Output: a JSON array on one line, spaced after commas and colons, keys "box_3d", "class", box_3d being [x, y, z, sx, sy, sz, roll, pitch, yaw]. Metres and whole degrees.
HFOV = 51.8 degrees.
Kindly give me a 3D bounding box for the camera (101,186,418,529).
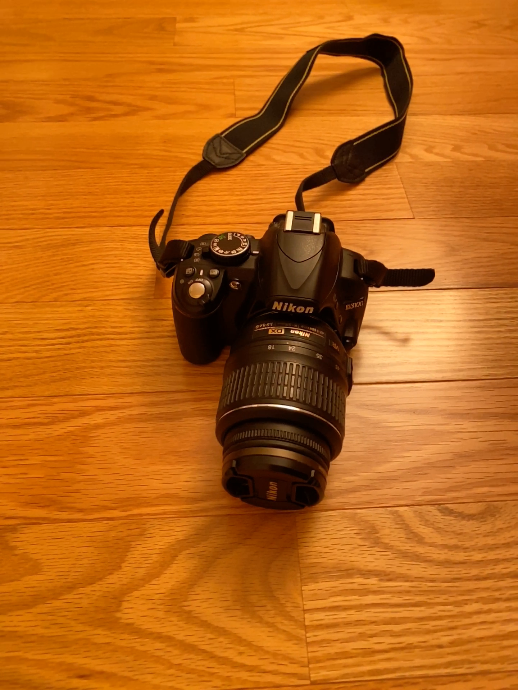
[{"box_3d": [0.006, 0.003, 0.307, 0.130, 0.099, 0.161, 4, 52, 3], "class": "camera"}]
